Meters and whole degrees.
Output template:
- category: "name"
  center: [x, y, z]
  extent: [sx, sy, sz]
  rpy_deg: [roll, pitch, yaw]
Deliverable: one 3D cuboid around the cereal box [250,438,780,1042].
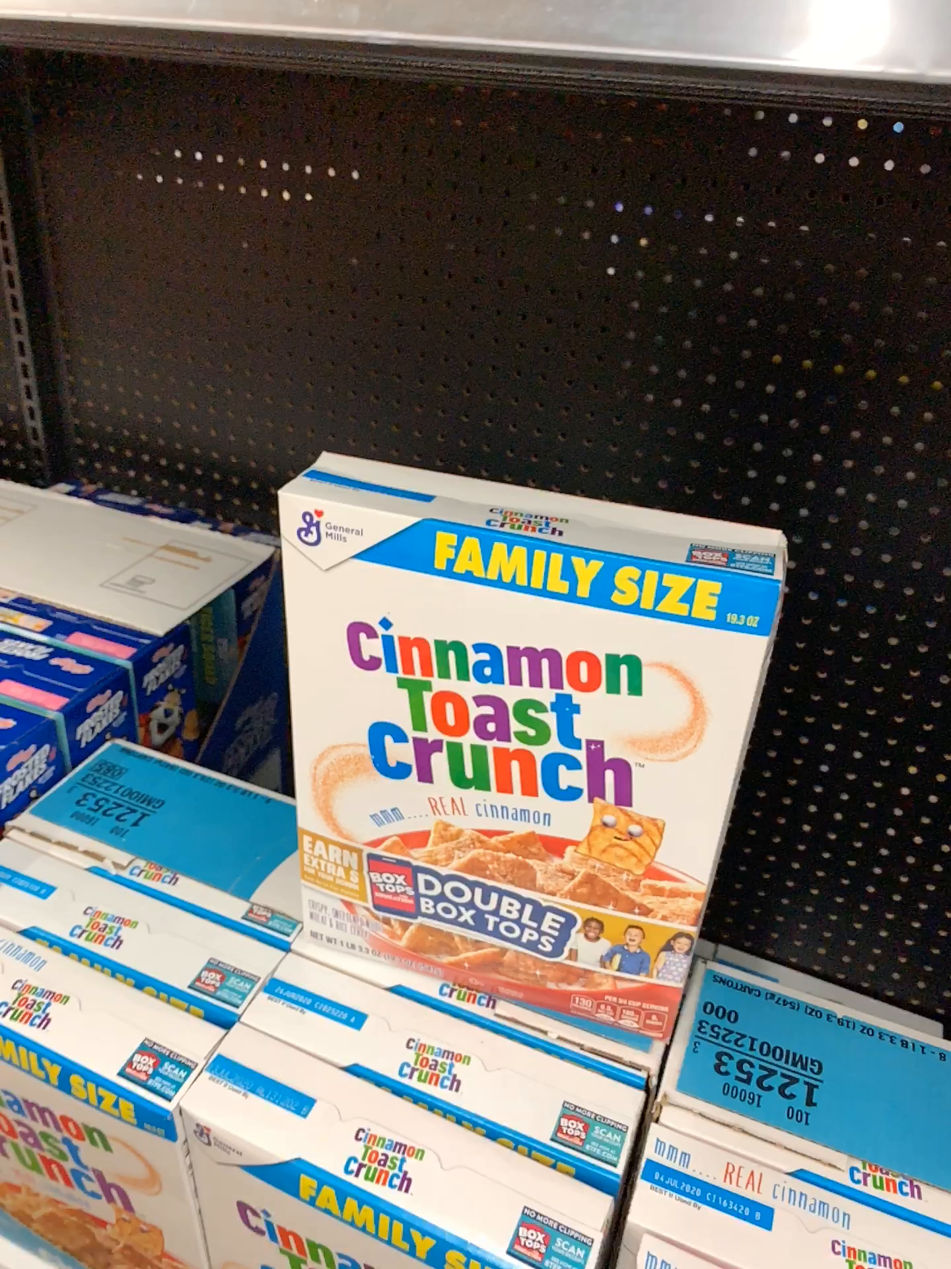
- category: "cereal box"
  center: [0.010, 0.064, 0.532]
  extent: [0.240, 0.298, 0.060]
  rpy_deg: [12, 32, 14]
